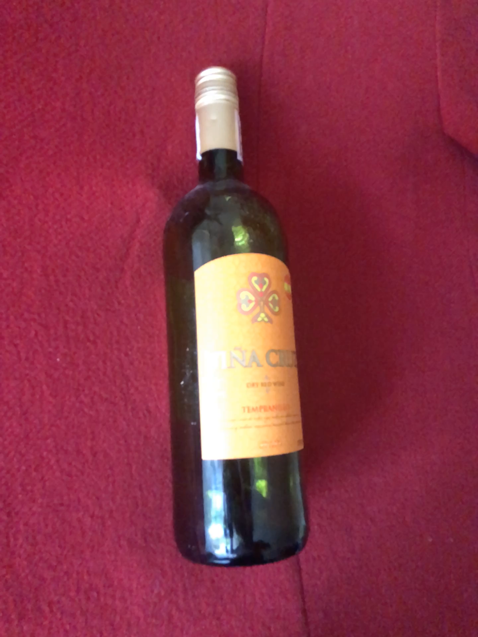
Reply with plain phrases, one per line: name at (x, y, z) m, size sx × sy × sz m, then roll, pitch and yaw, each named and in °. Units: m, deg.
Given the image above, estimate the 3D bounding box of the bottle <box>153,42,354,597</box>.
bottle at (0.003, -0.005, 0.328) m, size 0.080 × 0.070 × 0.300 m, roll 1°, pitch 80°, yaw -30°
